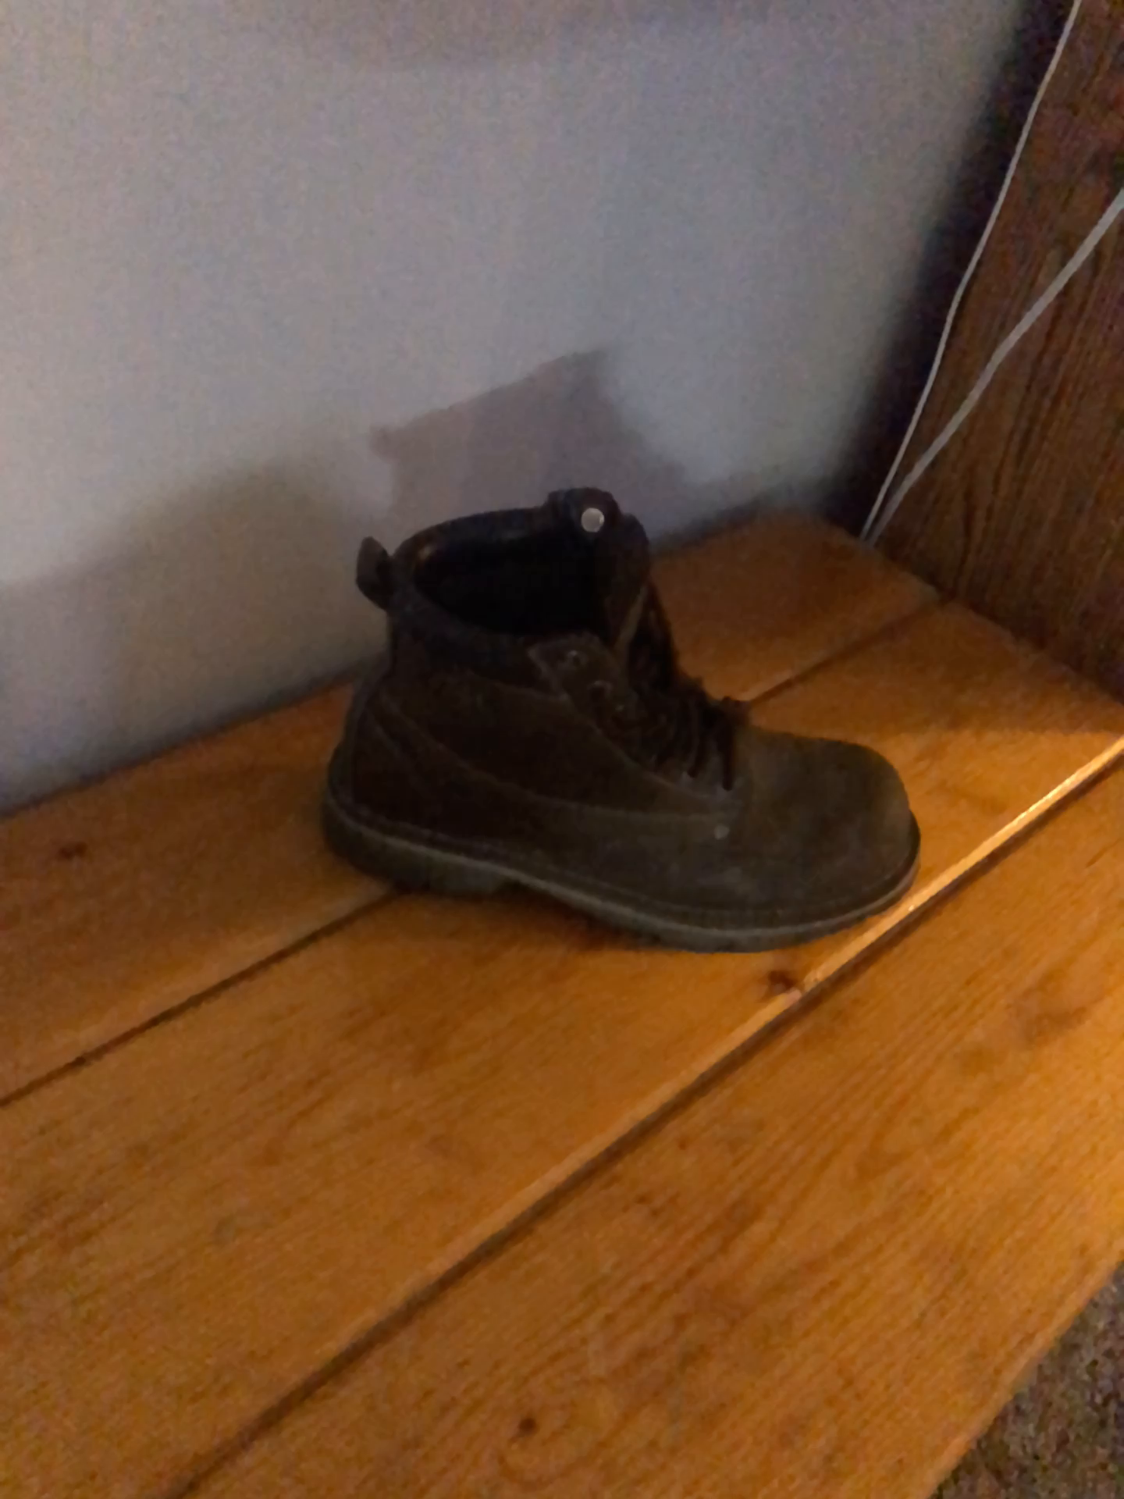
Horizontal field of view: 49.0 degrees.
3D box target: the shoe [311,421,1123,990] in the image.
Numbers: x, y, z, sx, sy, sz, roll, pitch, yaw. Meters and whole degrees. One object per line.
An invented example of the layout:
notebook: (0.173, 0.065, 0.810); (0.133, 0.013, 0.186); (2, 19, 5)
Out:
shoe: (0.055, -0.015, 0.587); (0.320, 0.189, 0.130); (8, 41, -4)
